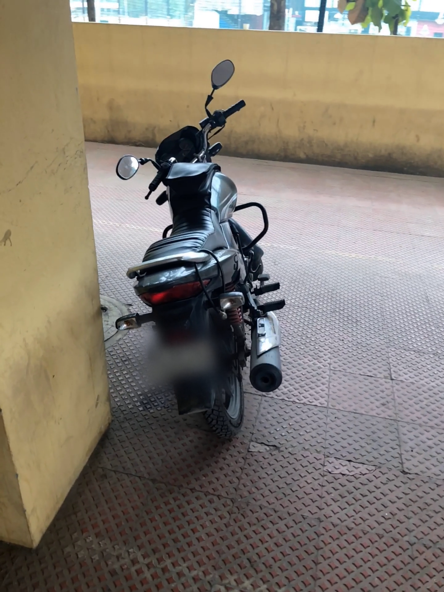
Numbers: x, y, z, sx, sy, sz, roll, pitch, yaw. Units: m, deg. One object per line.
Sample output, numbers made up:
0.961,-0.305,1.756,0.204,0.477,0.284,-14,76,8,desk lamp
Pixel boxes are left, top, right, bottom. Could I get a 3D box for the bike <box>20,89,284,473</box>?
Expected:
-0.252,-0.215,2.238,0.720,1.166,1.476,1,29,-3,bike
